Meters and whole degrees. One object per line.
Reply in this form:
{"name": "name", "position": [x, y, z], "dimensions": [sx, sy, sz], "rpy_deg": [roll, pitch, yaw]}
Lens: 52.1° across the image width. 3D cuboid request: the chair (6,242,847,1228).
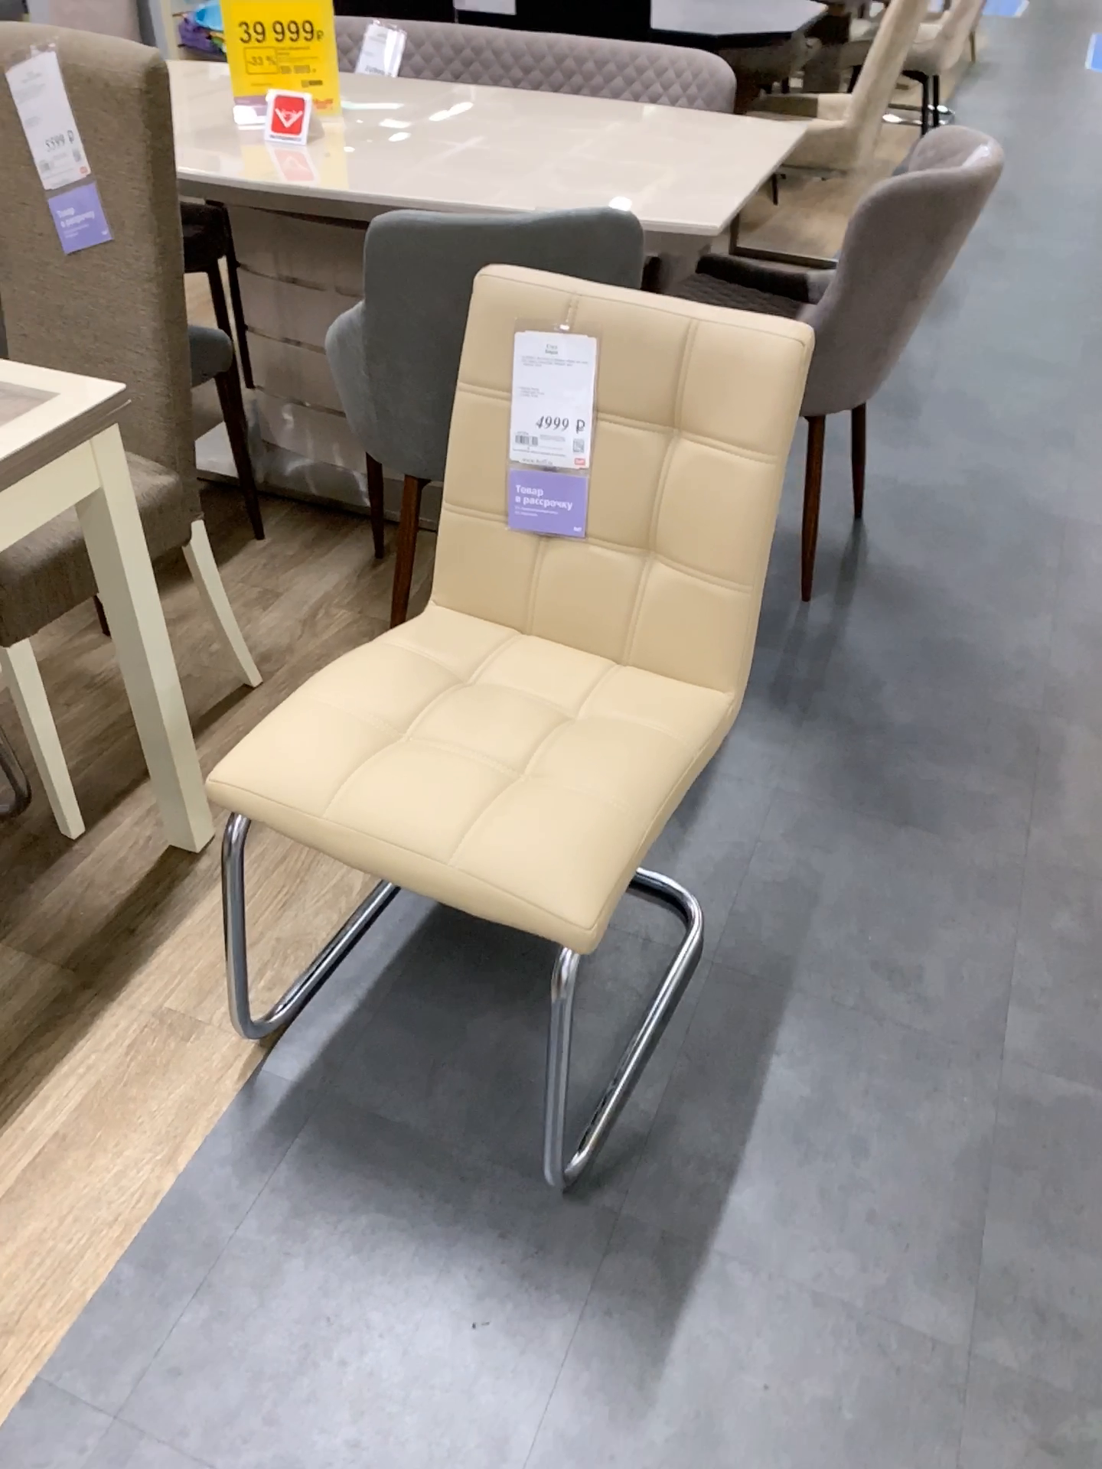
{"name": "chair", "position": [-0.072, -0.028, 1.322], "dimensions": [0.530, 0.815, 0.653], "rpy_deg": [18, 42, 20]}
